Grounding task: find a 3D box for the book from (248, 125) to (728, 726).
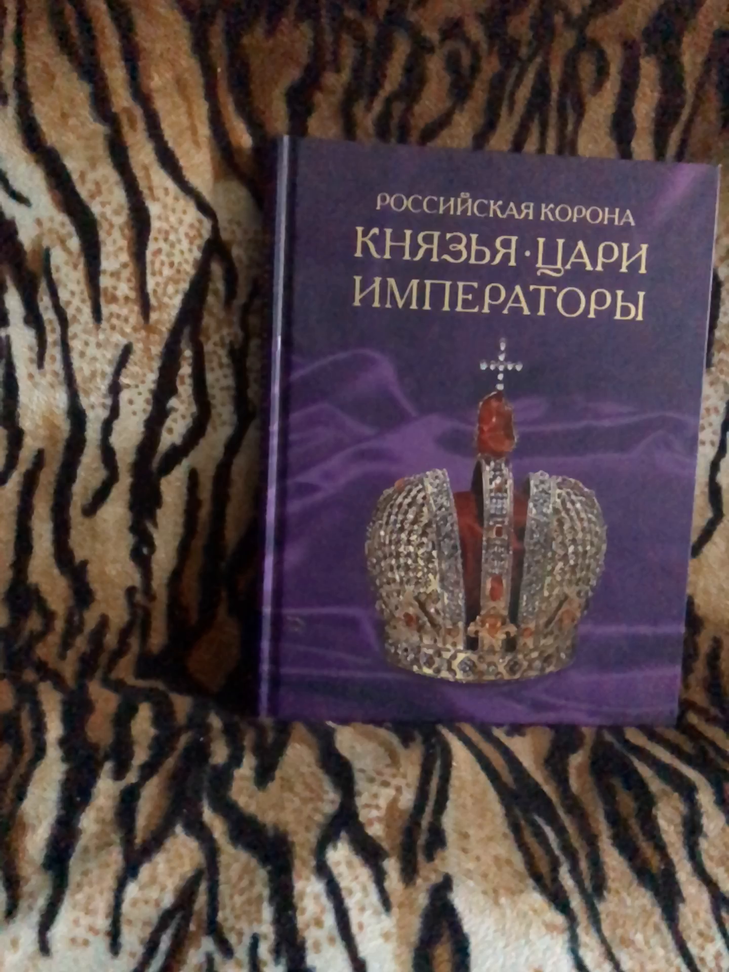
[{"bbox_3d":[0.059,-0.024,0.403,0.223,0.280,0.035,2,5,-3],"label":"book"}]
